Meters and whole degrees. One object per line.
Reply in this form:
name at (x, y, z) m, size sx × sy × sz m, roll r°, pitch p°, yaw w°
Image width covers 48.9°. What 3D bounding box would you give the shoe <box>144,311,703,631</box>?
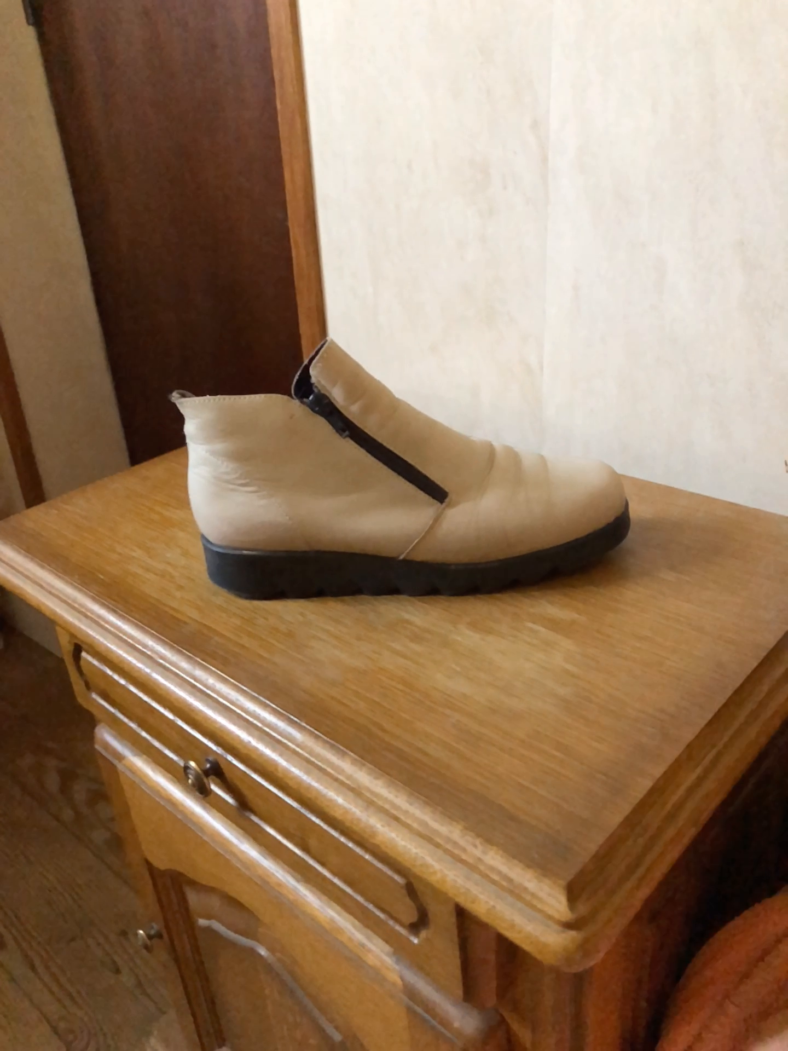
shoe at (0.017, -0.034, 0.490) m, size 0.270 × 0.129 × 0.101 m, roll -5°, pitch 26°, yaw -1°
